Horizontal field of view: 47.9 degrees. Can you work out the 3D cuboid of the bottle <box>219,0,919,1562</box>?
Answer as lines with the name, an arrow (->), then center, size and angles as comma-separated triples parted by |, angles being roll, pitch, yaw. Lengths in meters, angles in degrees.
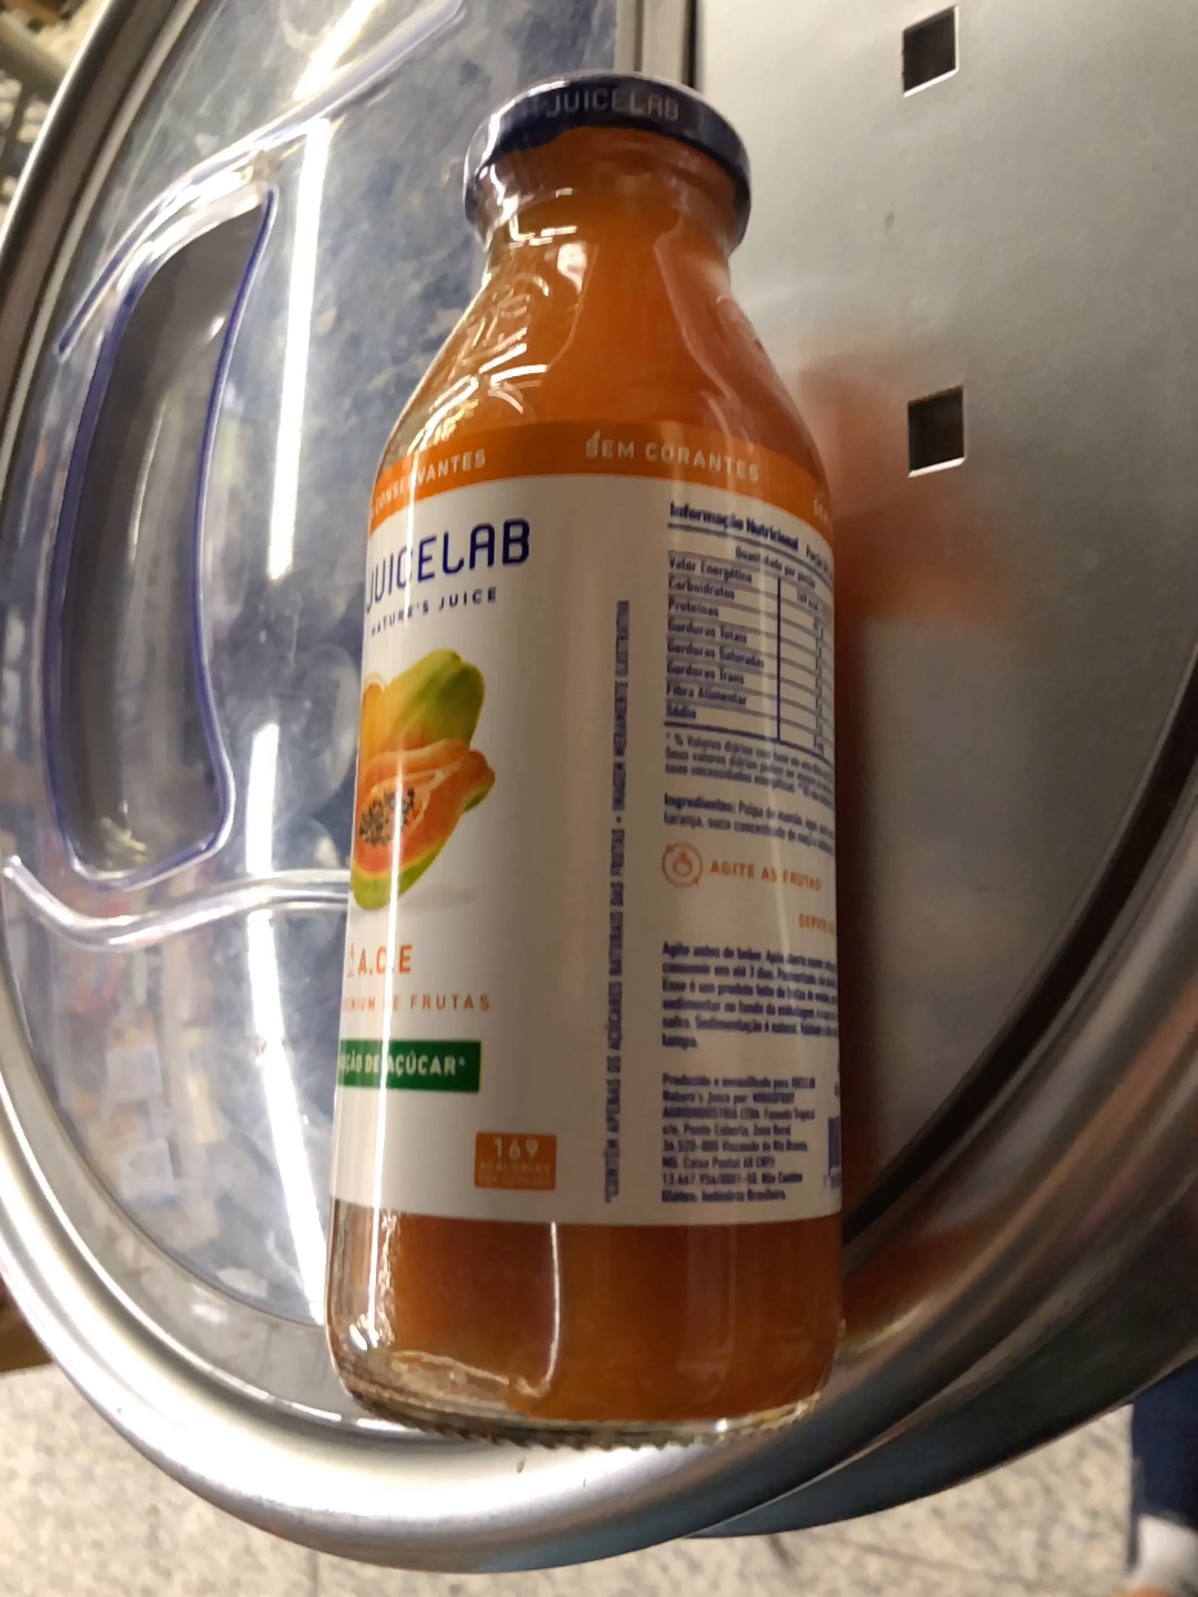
bottle -> -0.004, -0.020, 0.176 | 0.070, 0.050, 0.190 | -9, 76, 47
